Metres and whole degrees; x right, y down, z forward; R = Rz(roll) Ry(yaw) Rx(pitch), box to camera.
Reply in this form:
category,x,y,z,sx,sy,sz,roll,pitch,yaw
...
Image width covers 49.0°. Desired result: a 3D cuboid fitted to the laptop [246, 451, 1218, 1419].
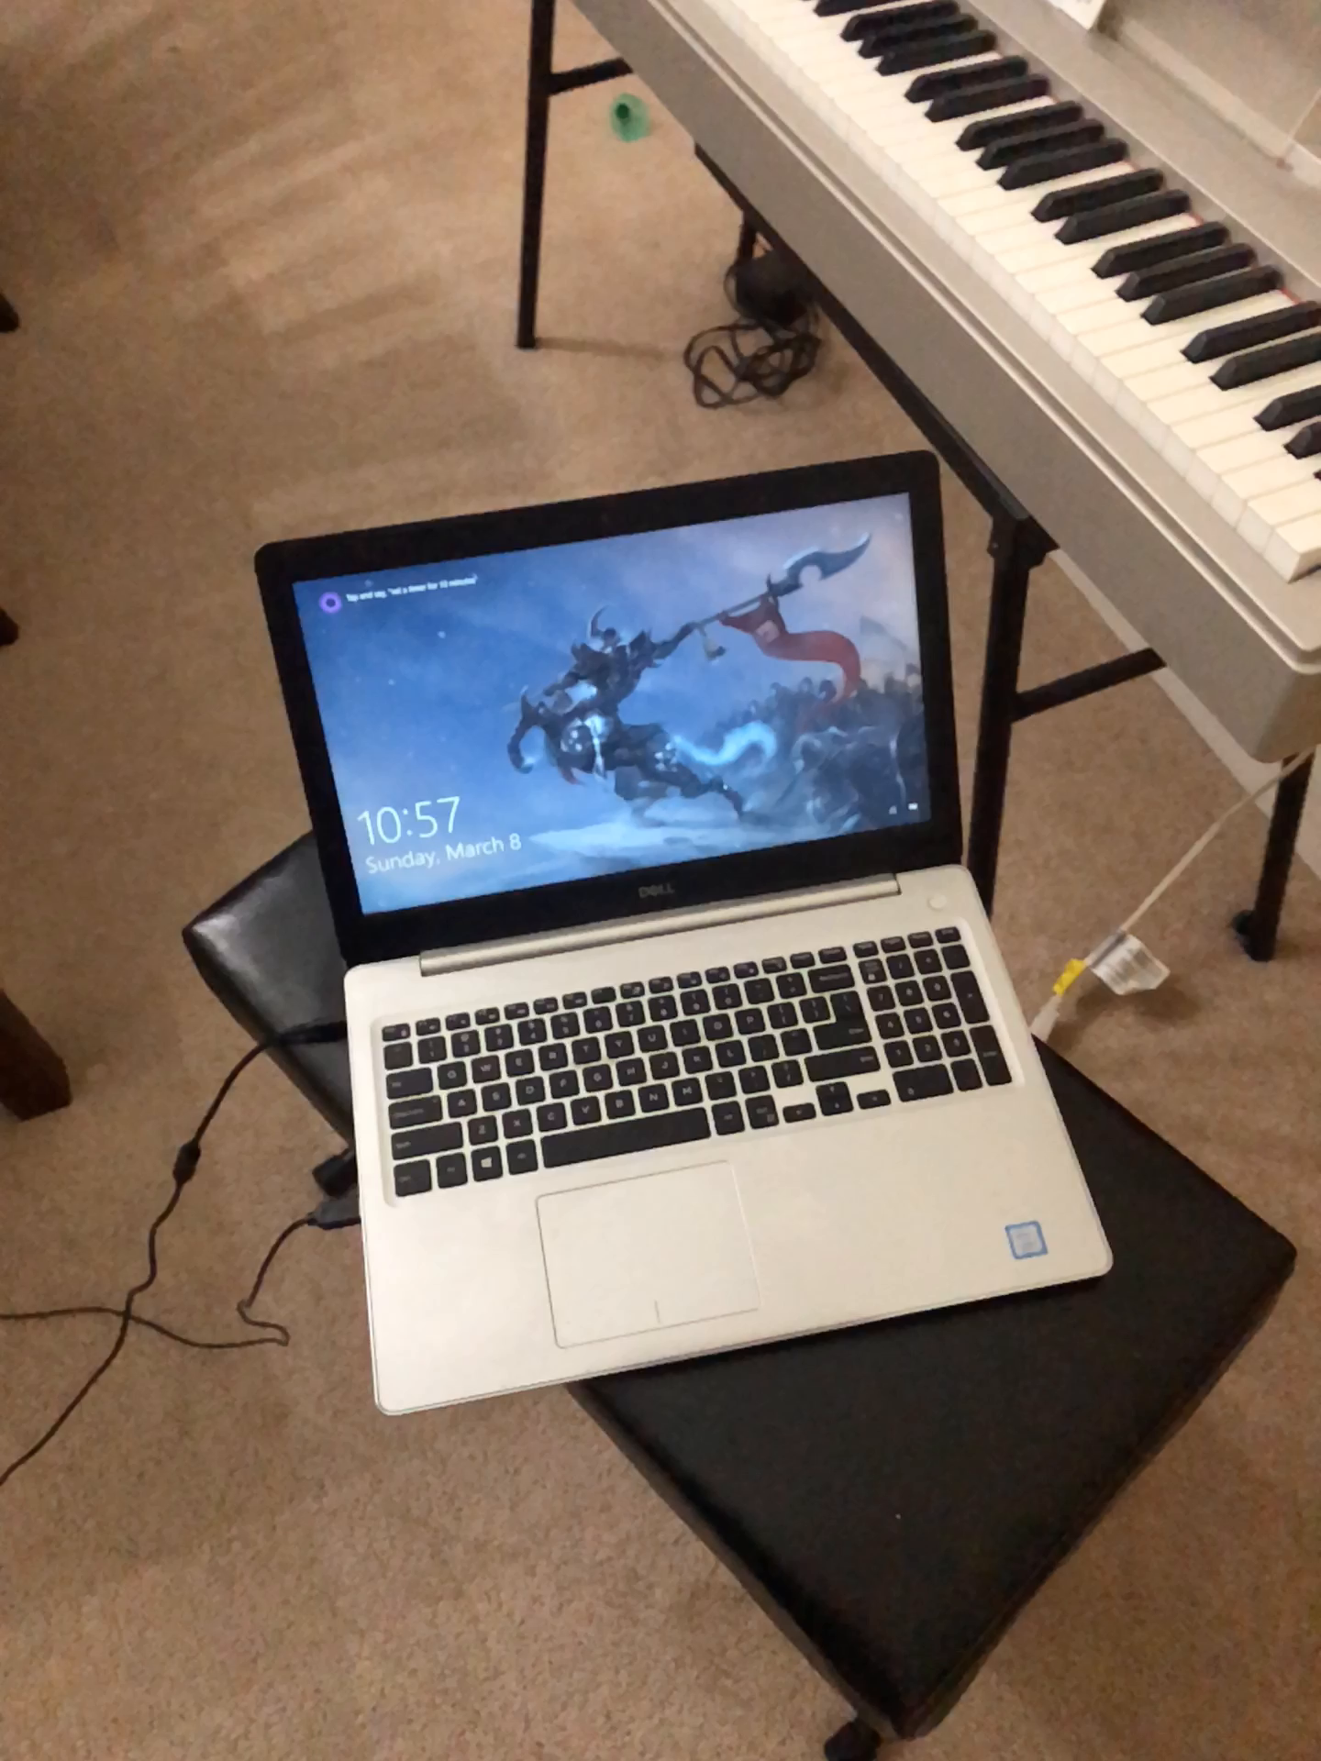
category,x,y,z,sx,sy,sz,roll,pitch,yaw
laptop,0.006,0.012,0.754,0.374,0.184,0.410,-10,57,-5
